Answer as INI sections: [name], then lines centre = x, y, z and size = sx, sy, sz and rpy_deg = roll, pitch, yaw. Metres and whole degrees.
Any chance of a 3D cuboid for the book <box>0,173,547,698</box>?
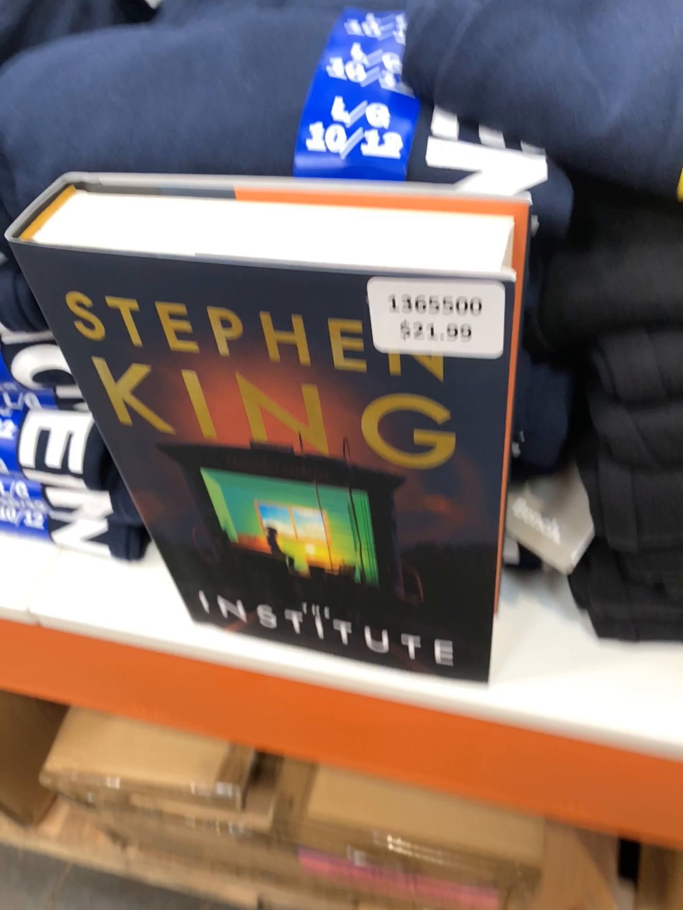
[book]
centre = -0.013, 0.007, 0.315
size = 0.167, 0.228, 0.050
rpy_deg = 7, 48, 15
